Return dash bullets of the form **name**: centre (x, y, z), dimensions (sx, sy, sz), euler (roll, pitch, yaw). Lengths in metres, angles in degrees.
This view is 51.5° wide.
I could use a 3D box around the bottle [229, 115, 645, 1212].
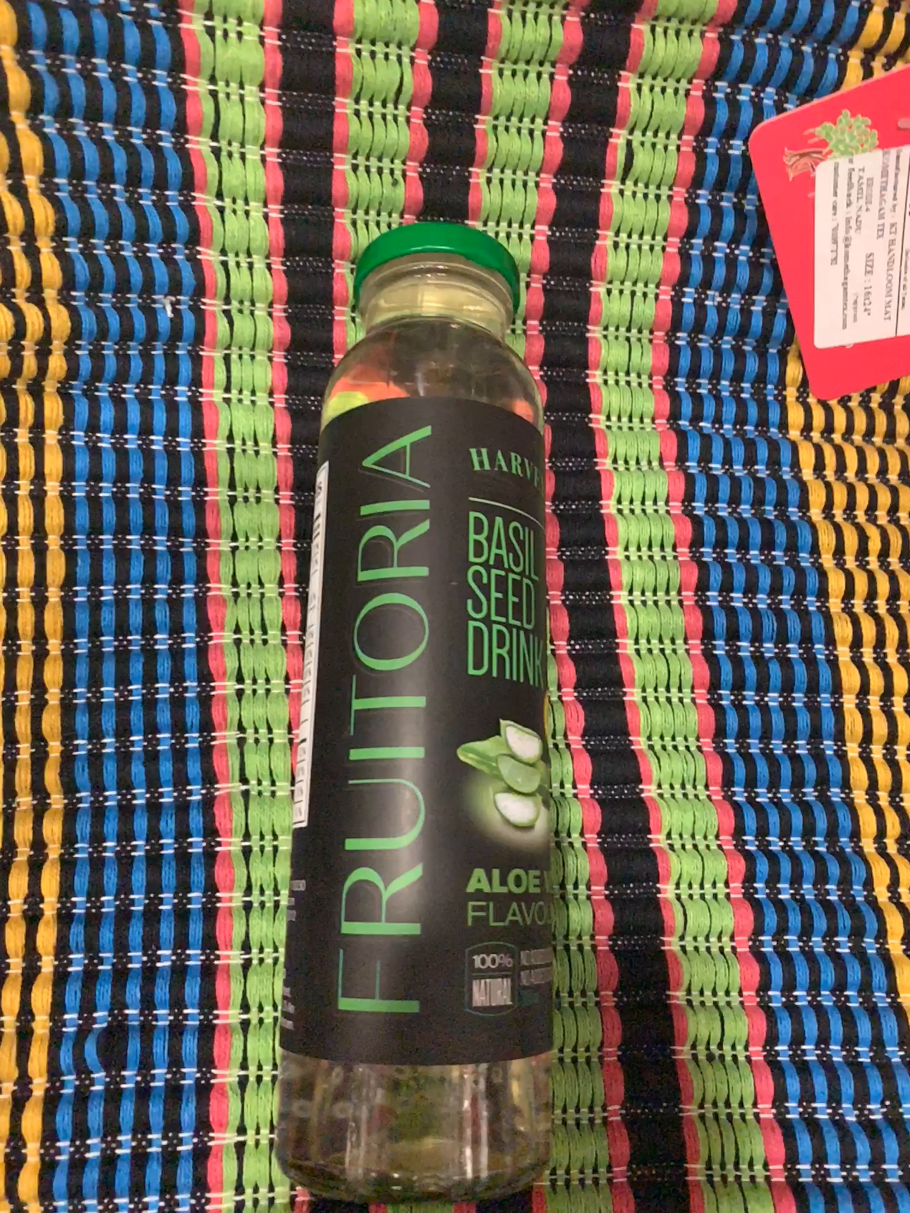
- **bottle**: centre (-0.001, 0.012, 0.197), dimensions (0.050, 0.060, 0.200), euler (13, 73, -42)
